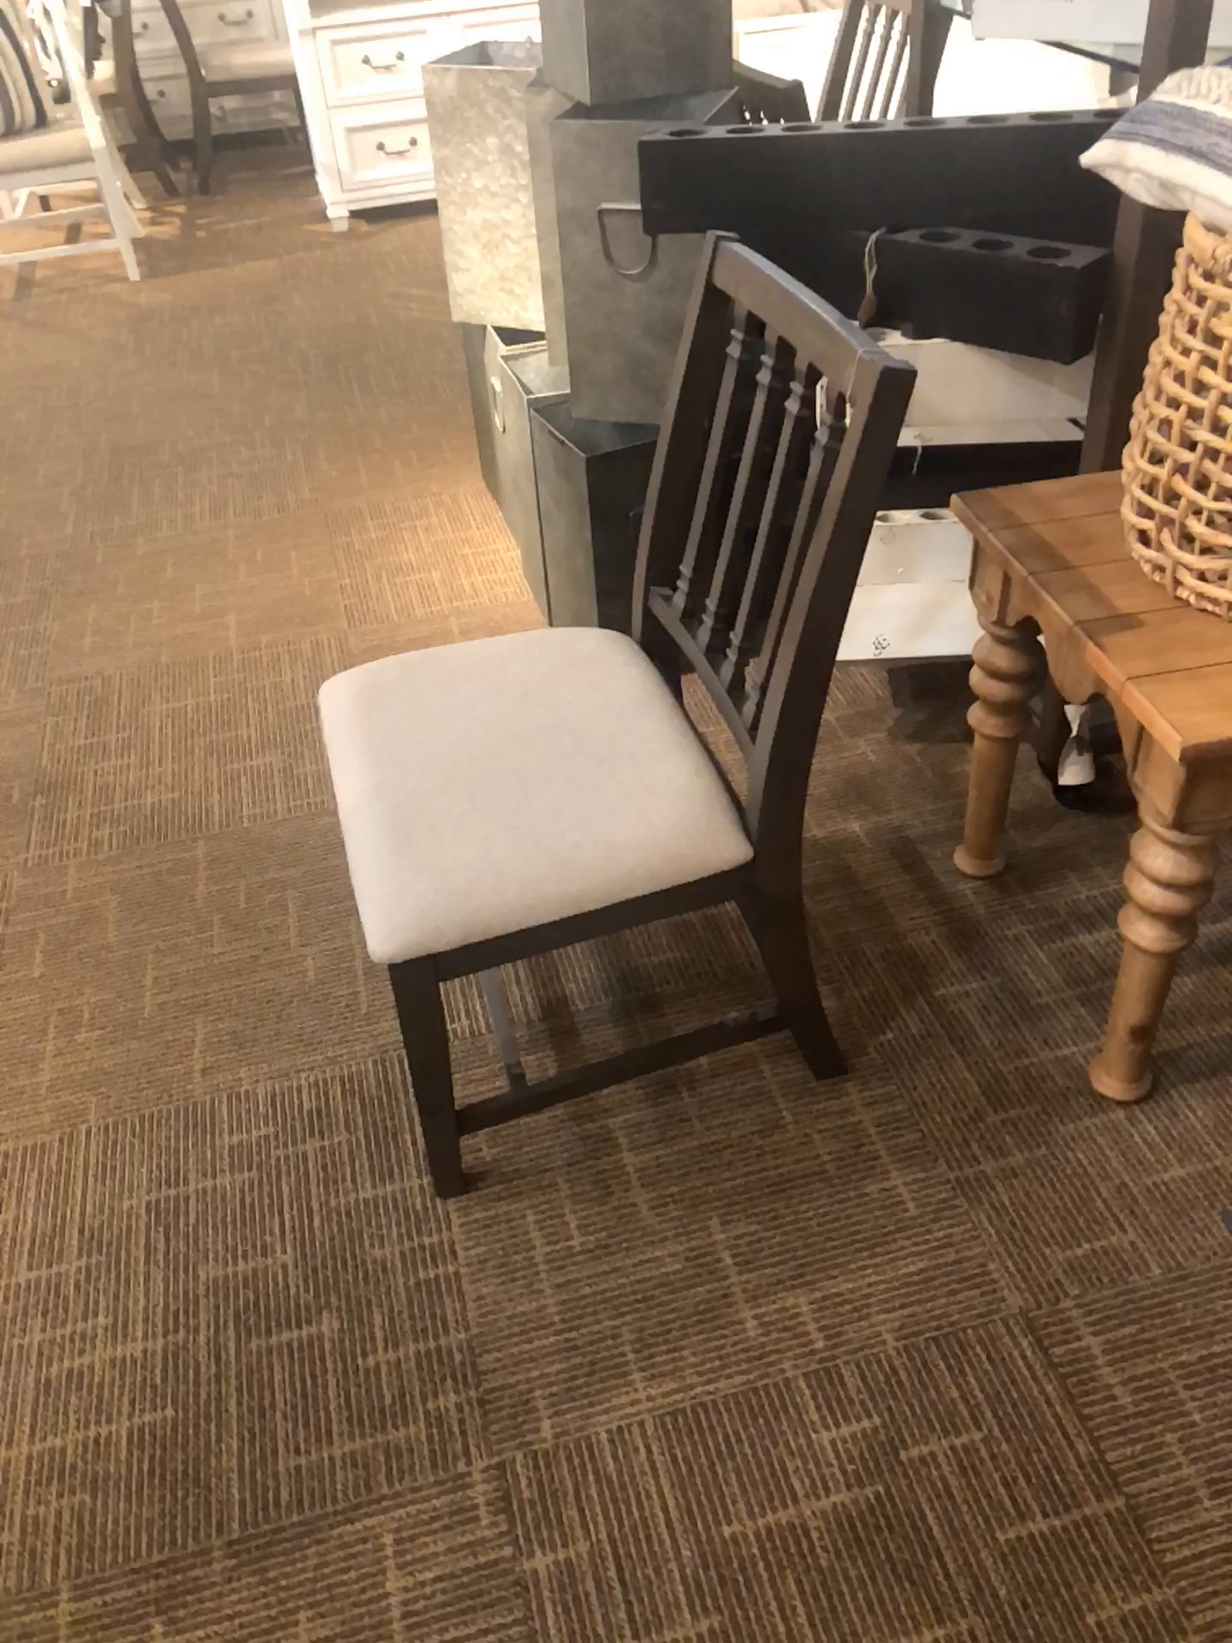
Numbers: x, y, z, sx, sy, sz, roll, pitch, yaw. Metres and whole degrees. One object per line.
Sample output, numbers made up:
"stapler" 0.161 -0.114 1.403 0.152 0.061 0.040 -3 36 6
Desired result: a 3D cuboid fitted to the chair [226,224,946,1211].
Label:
"chair" -0.048 -0.119 1.600 0.600 0.905 0.583 -11 39 -8
